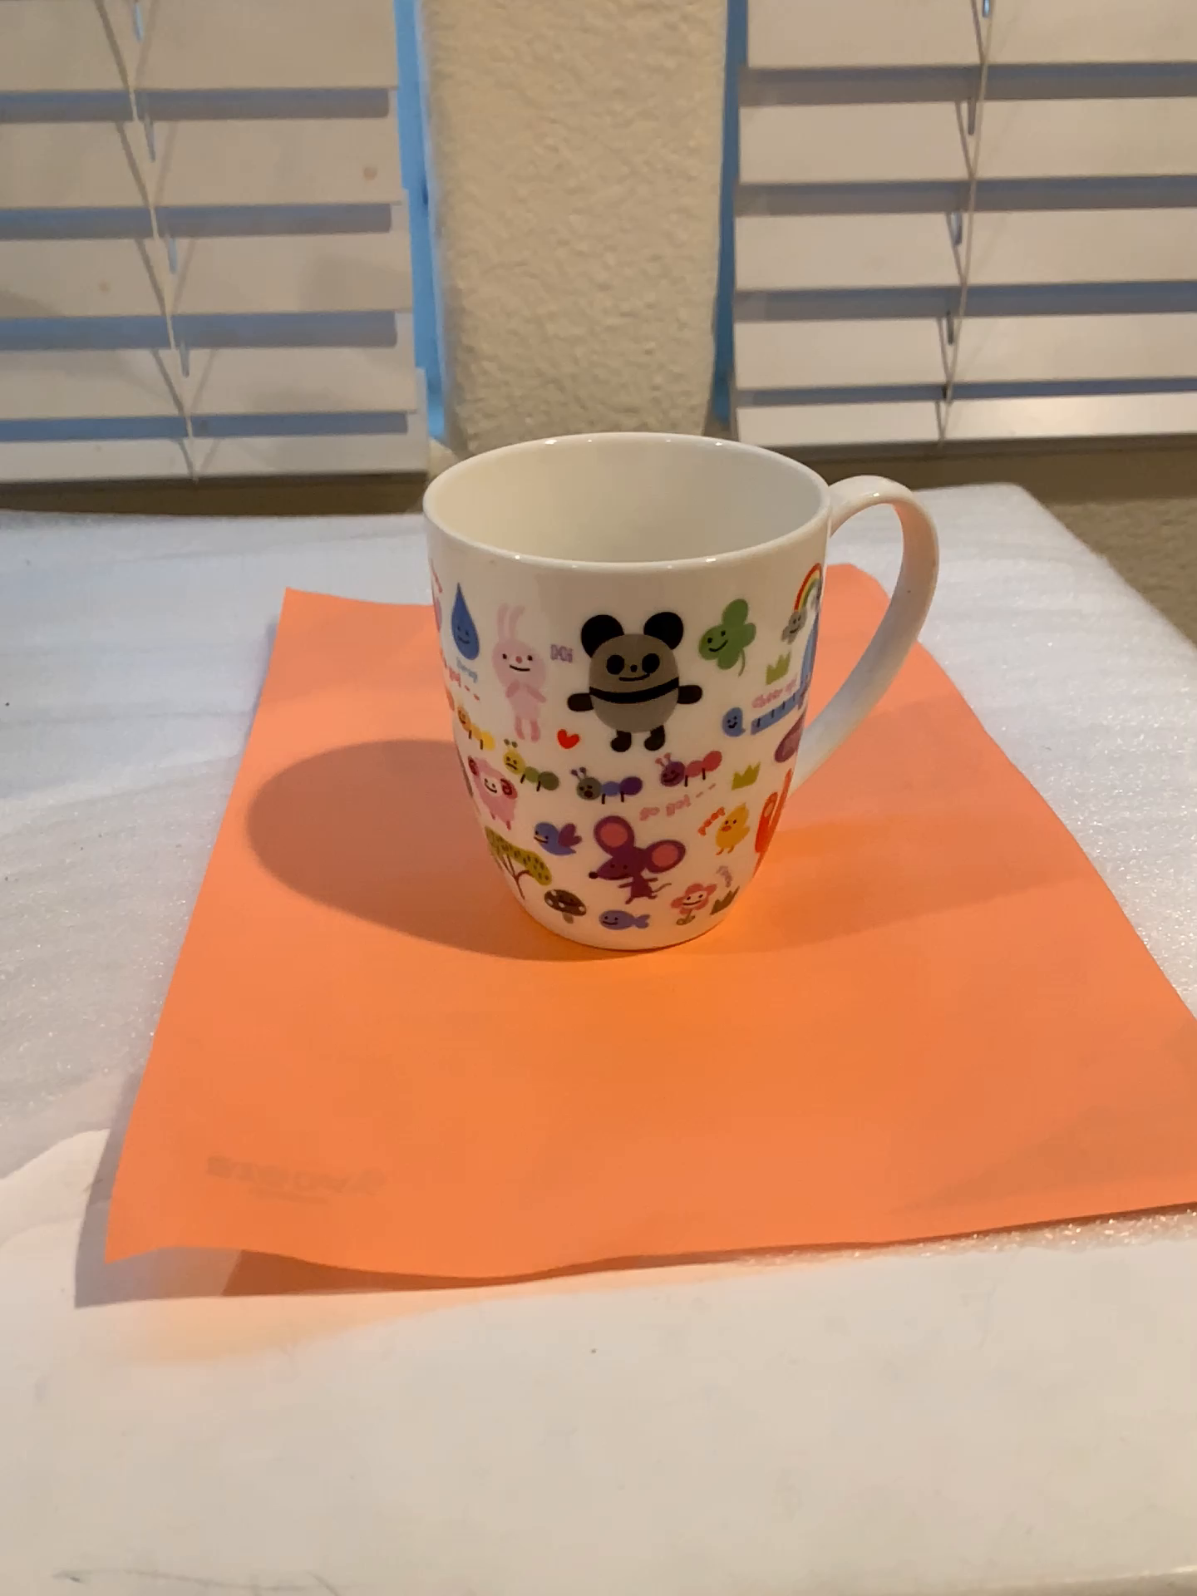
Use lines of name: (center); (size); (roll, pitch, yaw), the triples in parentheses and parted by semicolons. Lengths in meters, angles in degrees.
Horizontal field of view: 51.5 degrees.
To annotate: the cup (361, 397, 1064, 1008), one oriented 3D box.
cup: (0.019, -0.030, 0.283); (0.120, 0.089, 0.091); (-12, 33, -17)
